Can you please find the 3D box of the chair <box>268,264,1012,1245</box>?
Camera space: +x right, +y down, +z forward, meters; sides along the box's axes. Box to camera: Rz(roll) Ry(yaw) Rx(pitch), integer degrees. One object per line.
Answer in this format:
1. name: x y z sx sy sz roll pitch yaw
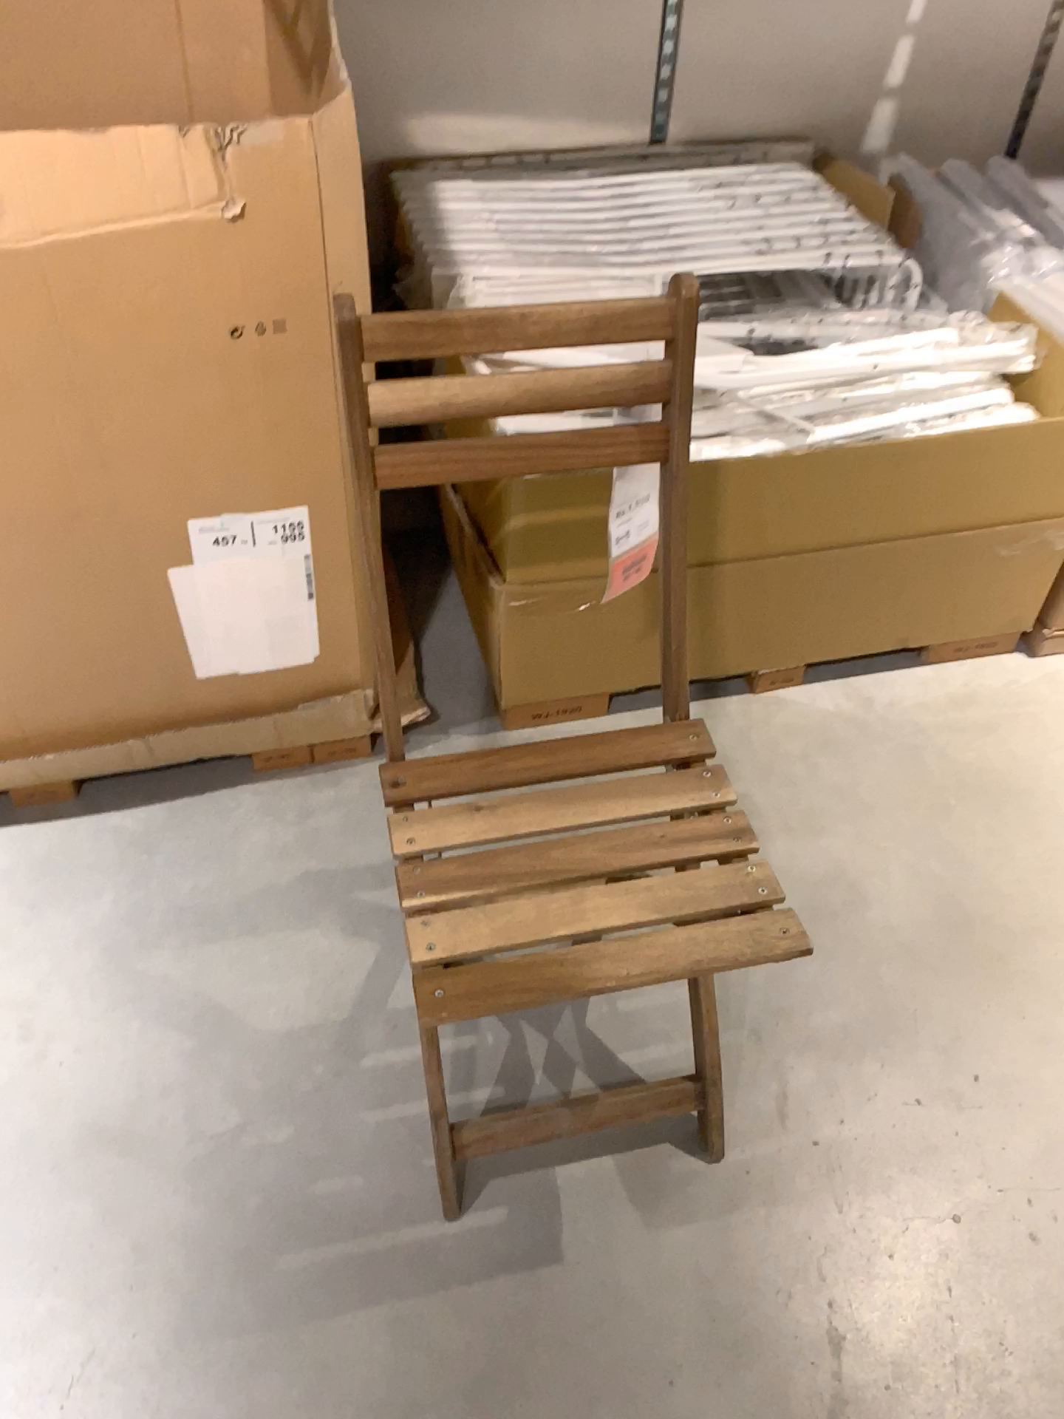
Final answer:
1. chair: 0.017 0.068 1.048 0.400 0.767 0.512 -8 46 -11
